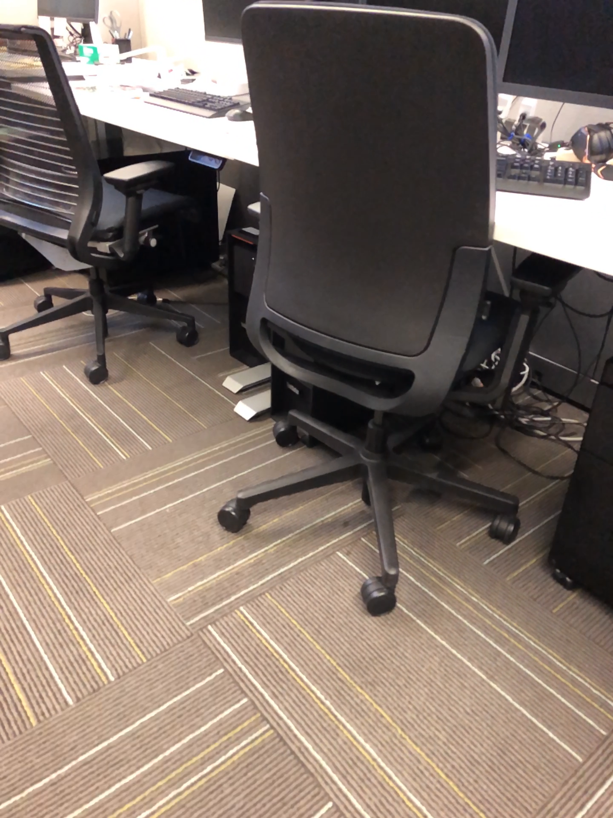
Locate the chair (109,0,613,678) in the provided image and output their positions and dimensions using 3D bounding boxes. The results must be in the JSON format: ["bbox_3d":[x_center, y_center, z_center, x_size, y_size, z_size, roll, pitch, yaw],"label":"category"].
[{"bbox_3d":[0.164,-0.220,1.388,0.712,1.044,0.722,25,38,33],"label":"chair"}]
